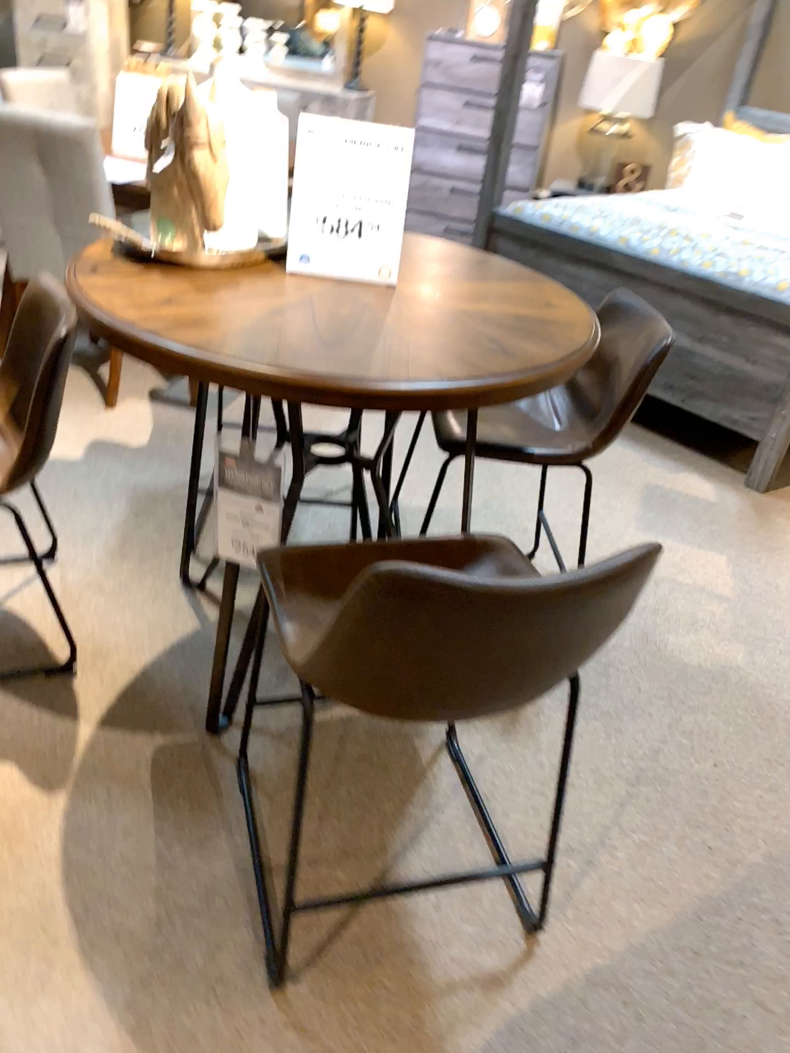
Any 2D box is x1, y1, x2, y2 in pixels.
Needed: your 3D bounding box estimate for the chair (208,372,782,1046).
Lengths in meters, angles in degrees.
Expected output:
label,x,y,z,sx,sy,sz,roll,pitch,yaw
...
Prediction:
label,x,y,z,sx,sy,sz,roll,pitch,yaw
chair,0.032,0.249,1.286,0.600,0.806,0.583,-3,34,-17
